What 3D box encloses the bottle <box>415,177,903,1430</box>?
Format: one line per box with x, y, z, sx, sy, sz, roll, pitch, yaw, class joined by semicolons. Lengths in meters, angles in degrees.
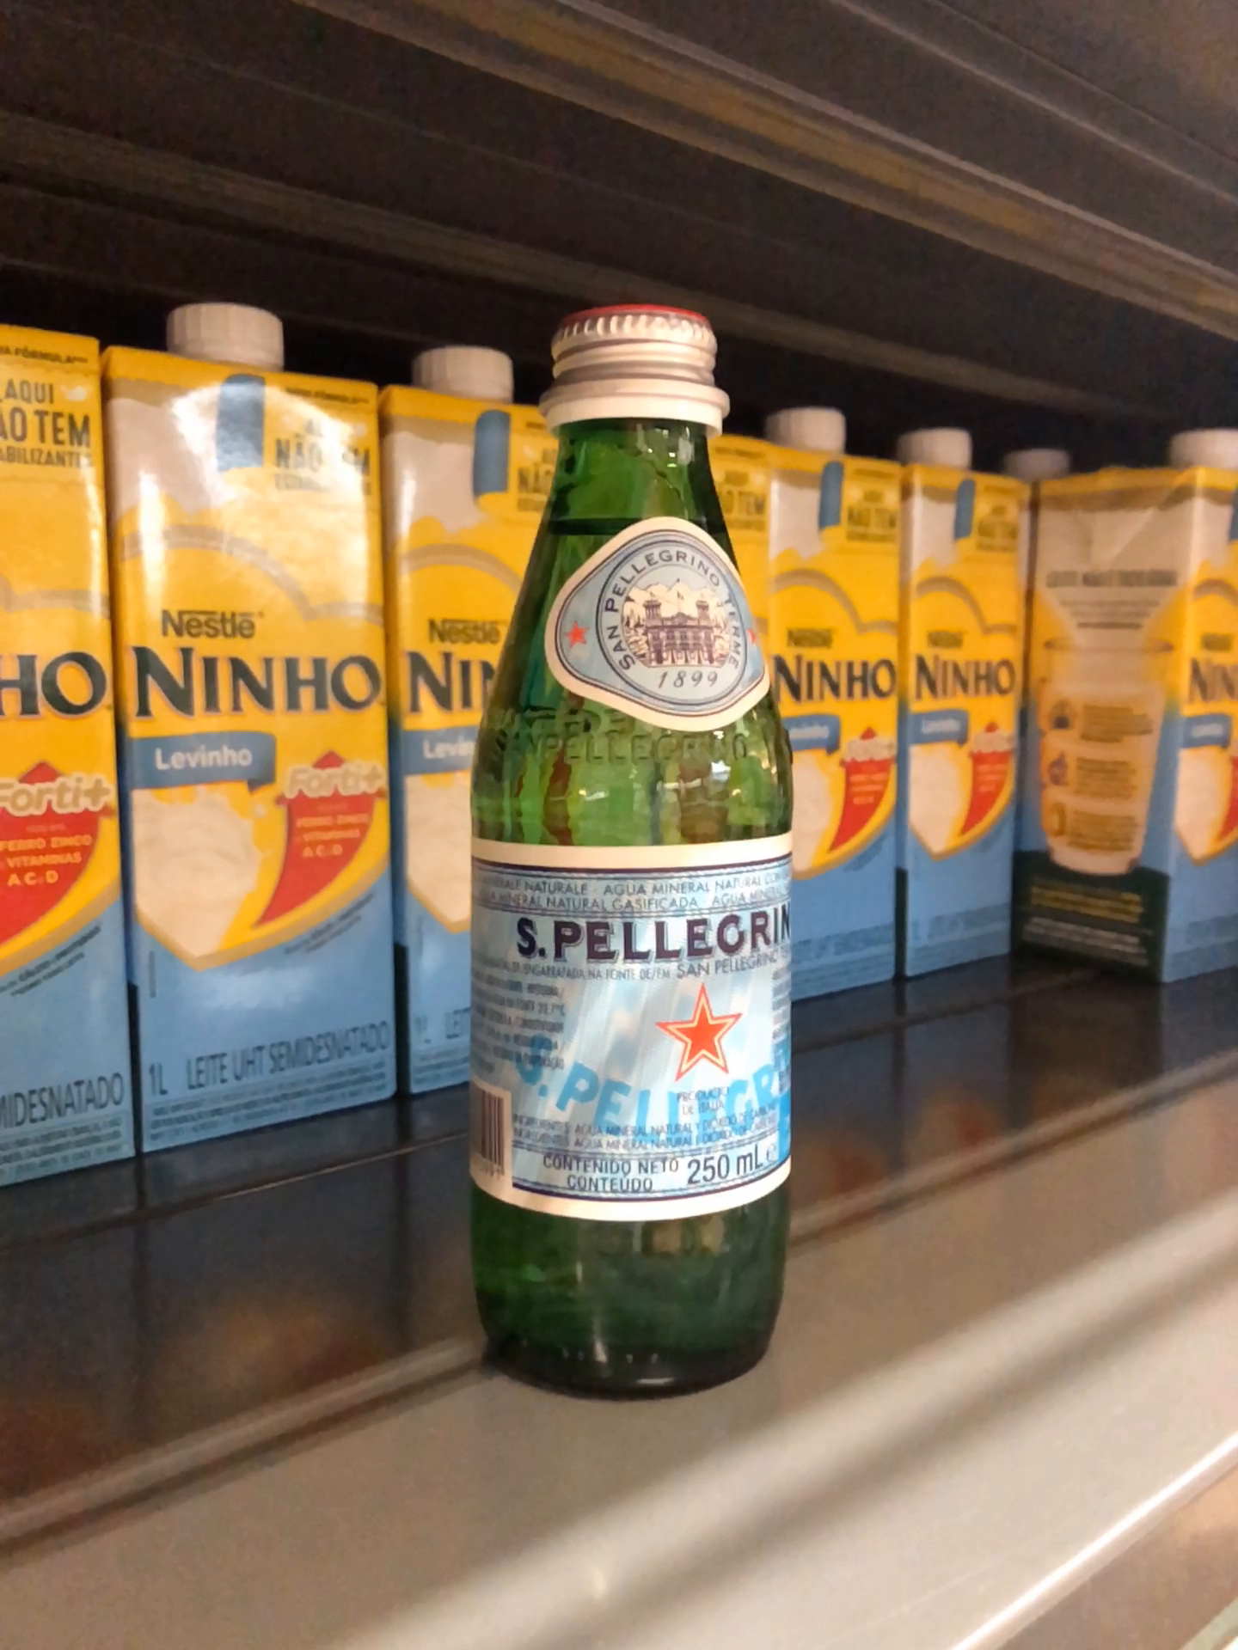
0.003;-0.004;0.237;0.060;0.180;0.060;1;6;0;bottle
